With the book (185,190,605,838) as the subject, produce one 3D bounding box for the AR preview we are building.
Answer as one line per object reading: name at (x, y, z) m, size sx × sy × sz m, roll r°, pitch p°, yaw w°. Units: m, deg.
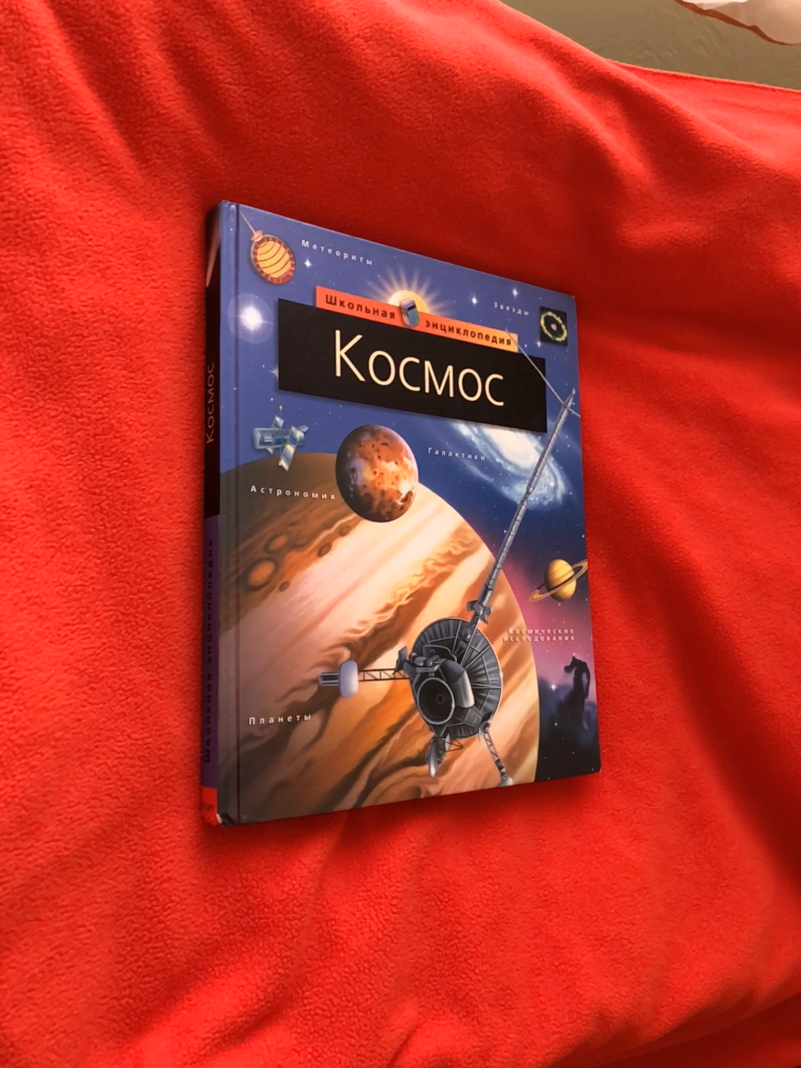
book at (0.007, -0.008, 0.460) m, size 0.236 × 0.030 × 0.284 m, roll 3°, pitch 82°, yaw -34°
